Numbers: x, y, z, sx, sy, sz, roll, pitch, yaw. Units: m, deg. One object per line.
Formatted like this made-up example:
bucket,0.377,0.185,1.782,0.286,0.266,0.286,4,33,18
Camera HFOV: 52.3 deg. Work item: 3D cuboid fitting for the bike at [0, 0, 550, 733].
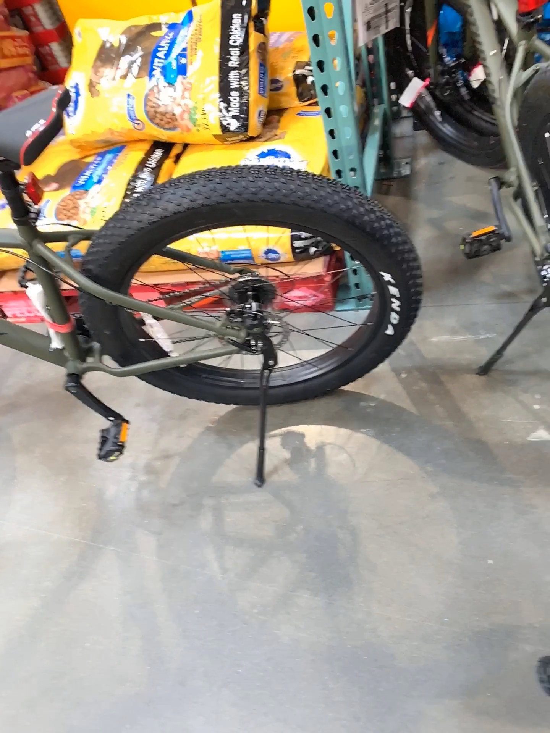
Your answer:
bike,-0.434,-0.029,0.889,1.712,1.203,0.594,-18,44,-10
